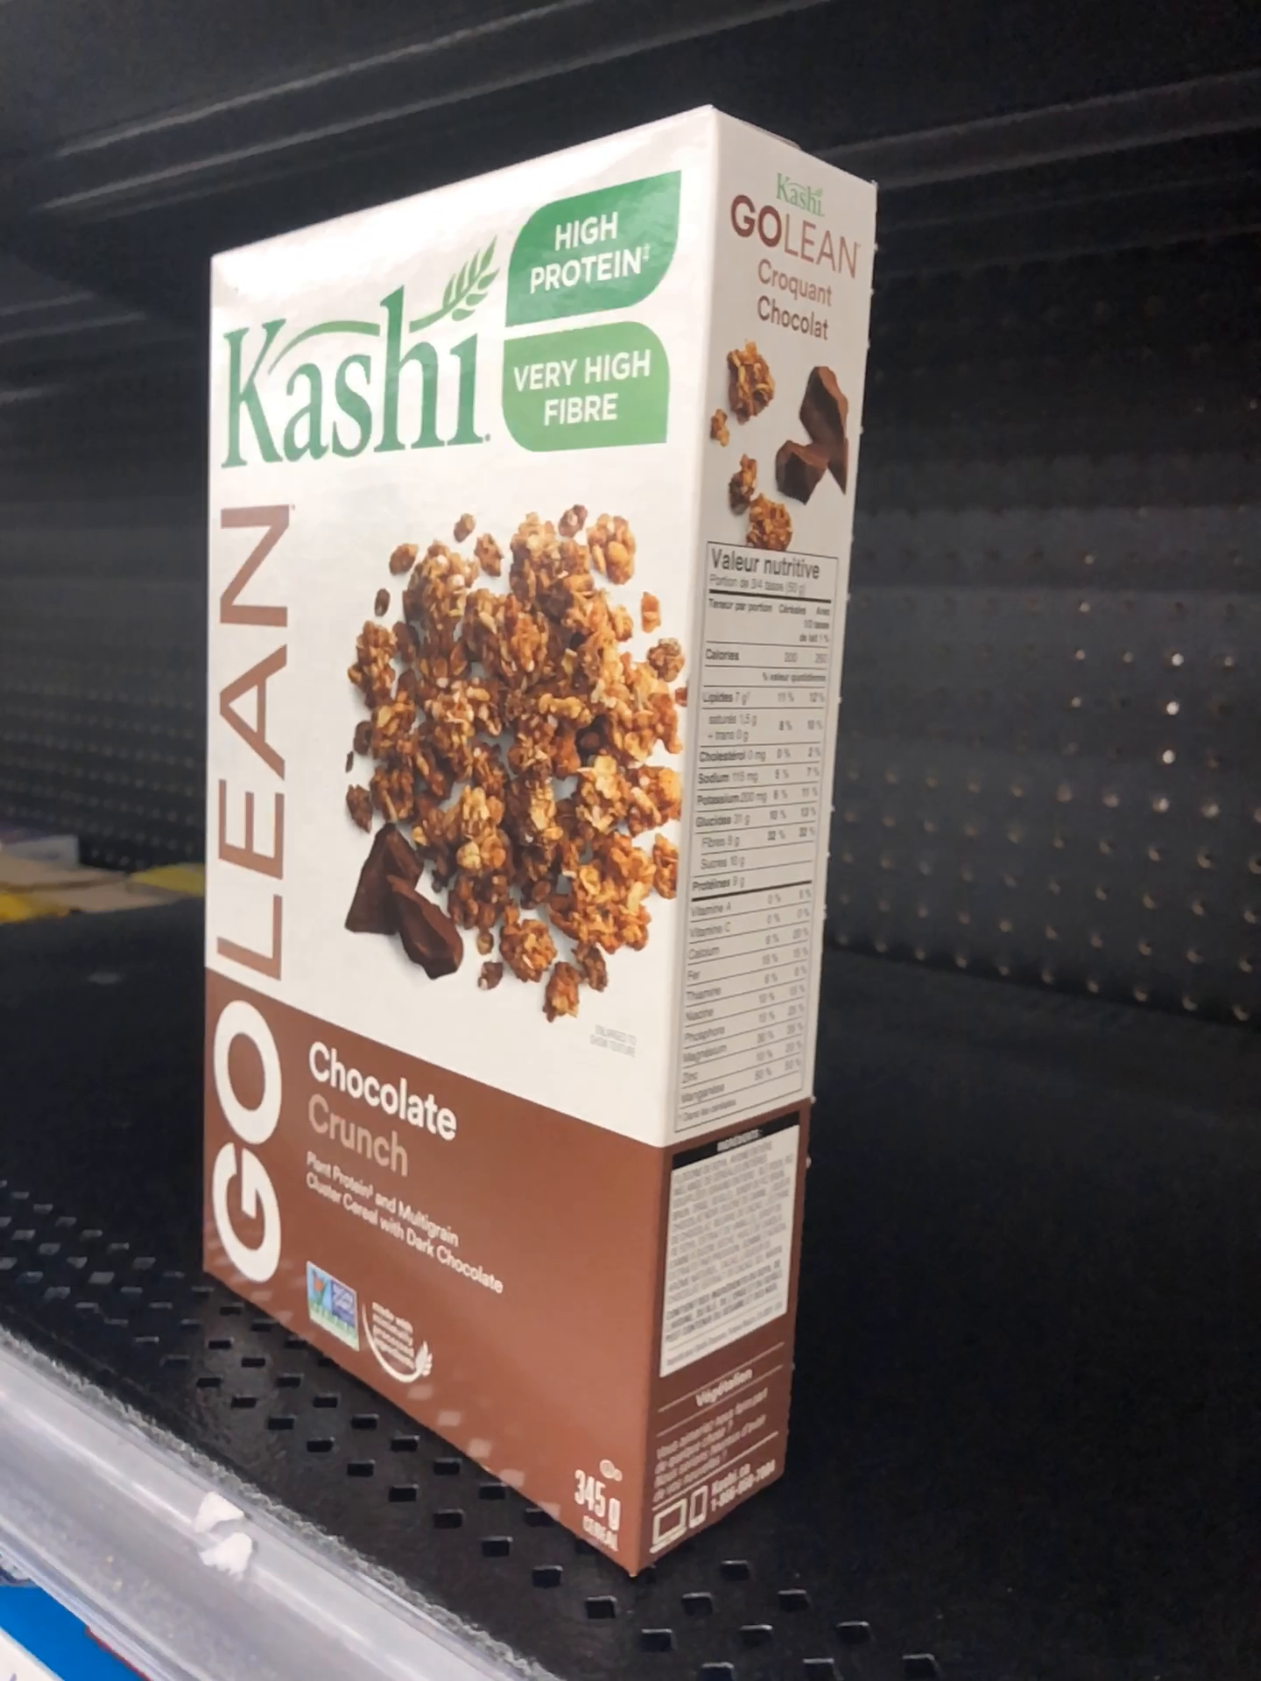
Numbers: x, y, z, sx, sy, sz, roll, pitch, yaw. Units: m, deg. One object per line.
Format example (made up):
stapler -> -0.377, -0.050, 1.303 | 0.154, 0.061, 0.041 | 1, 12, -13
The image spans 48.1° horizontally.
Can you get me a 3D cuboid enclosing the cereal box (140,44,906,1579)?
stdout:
cereal box -> -0.040, -0.010, 0.309 | 0.180, 0.250, 0.050 | 10, 10, 44
